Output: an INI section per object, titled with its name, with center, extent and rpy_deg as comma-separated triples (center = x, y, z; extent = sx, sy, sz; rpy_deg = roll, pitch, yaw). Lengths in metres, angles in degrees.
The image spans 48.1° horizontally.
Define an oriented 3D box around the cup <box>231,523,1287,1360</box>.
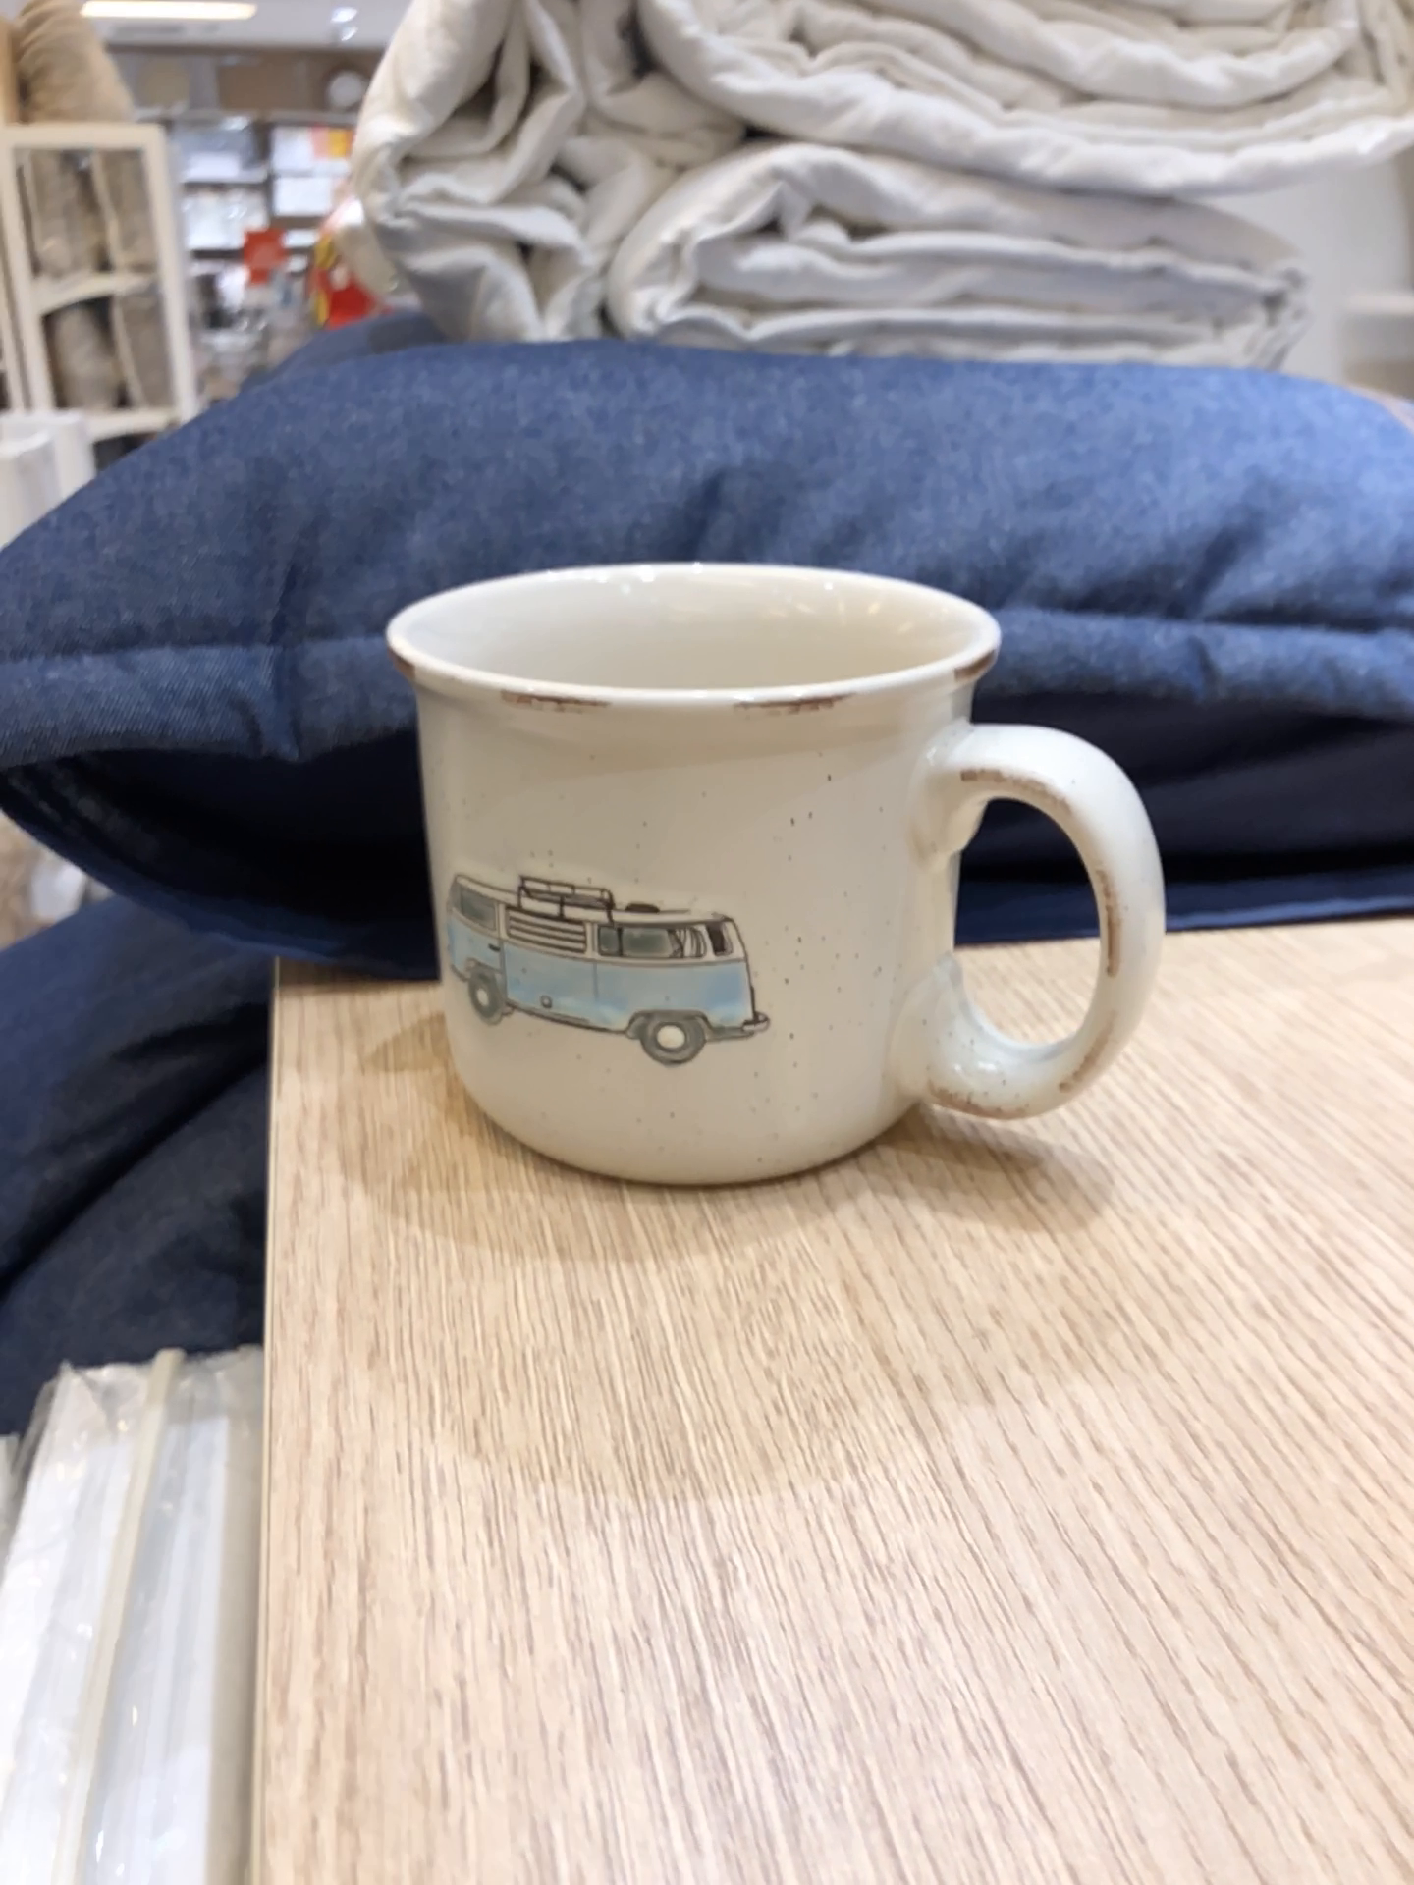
[cup]
center = 0.012, -0.015, 0.273
extent = 0.140, 0.089, 0.101
rpy_deg = 12, 26, 26
